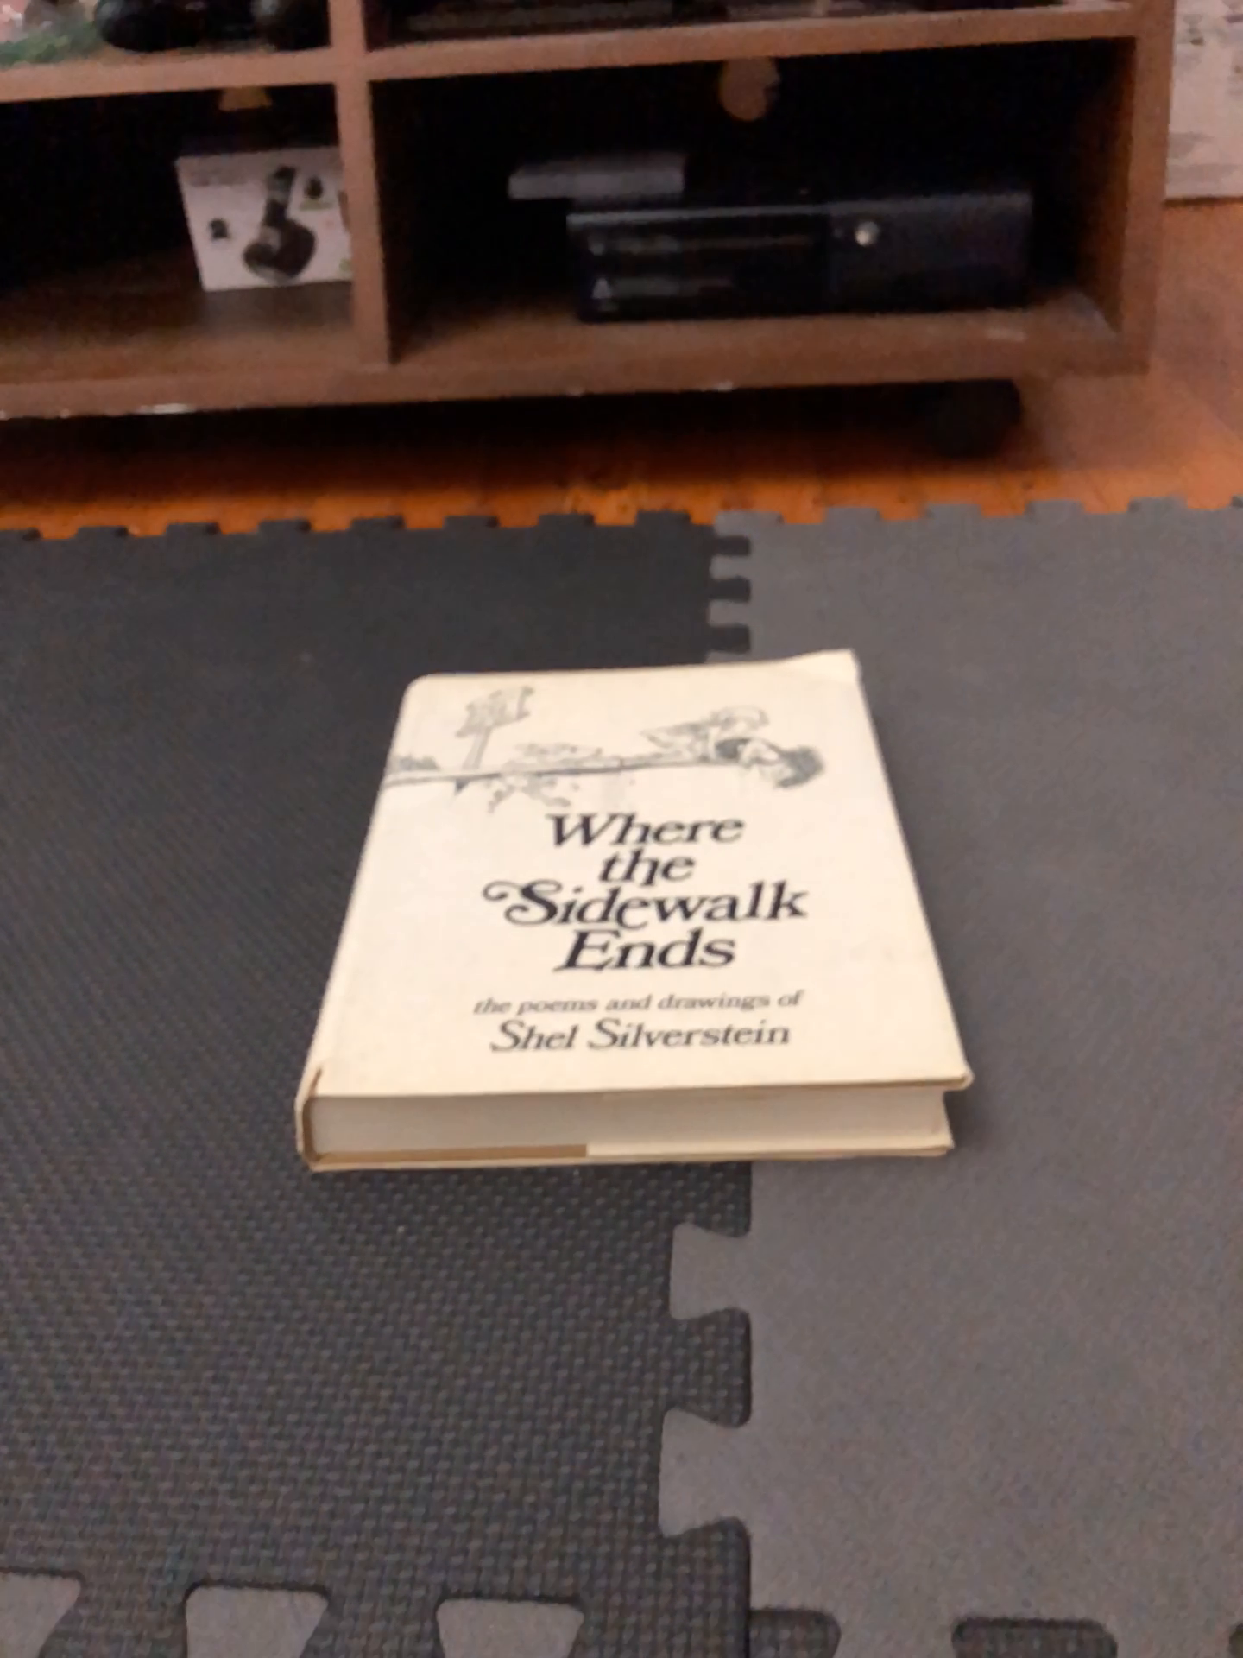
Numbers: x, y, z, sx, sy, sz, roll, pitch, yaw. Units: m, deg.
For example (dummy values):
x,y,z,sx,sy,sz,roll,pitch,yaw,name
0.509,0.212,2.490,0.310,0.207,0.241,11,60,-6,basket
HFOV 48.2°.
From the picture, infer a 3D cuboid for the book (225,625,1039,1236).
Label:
x,y,z,sx,sy,sz,roll,pitch,yaw,name
0.006,0.012,0.465,0.200,0.030,0.282,-2,34,3,book
